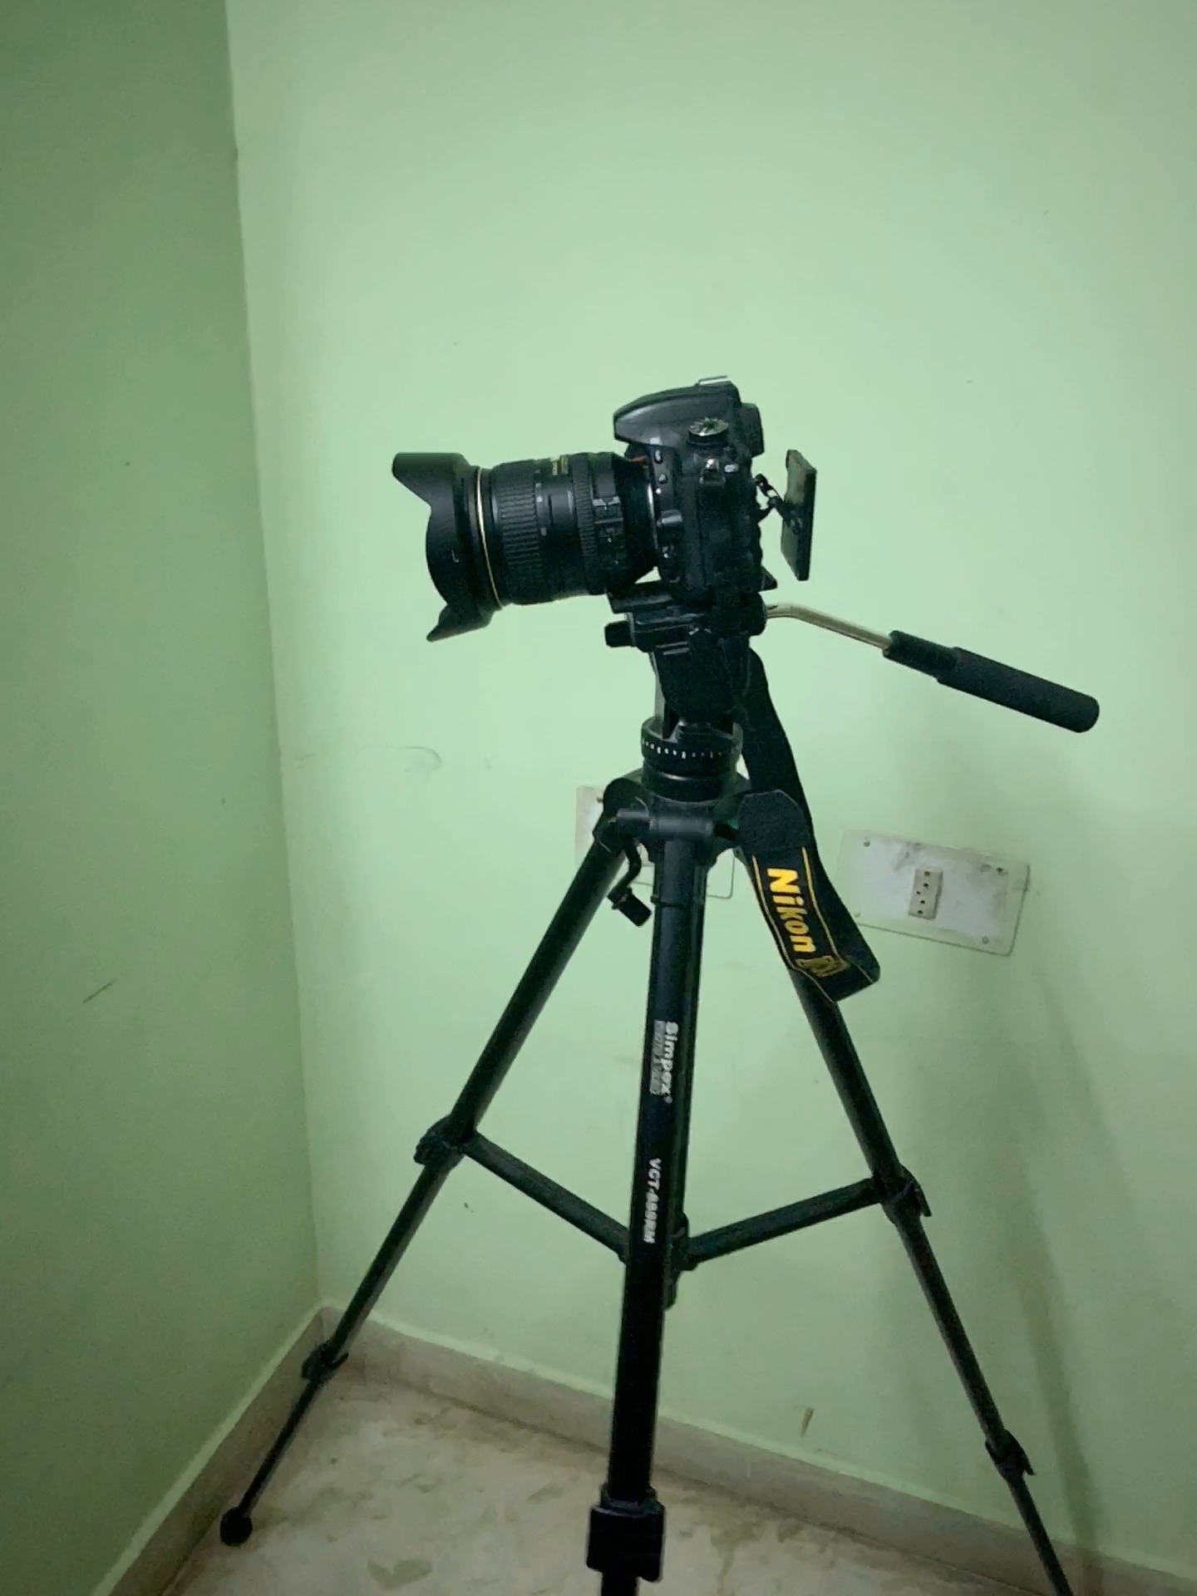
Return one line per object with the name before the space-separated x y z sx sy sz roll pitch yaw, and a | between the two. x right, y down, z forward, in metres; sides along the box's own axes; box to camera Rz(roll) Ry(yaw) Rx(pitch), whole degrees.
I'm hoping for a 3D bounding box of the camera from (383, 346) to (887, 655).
camera | 0.018 -0.188 0.743 0.266 0.127 0.161 -9 22 -3
